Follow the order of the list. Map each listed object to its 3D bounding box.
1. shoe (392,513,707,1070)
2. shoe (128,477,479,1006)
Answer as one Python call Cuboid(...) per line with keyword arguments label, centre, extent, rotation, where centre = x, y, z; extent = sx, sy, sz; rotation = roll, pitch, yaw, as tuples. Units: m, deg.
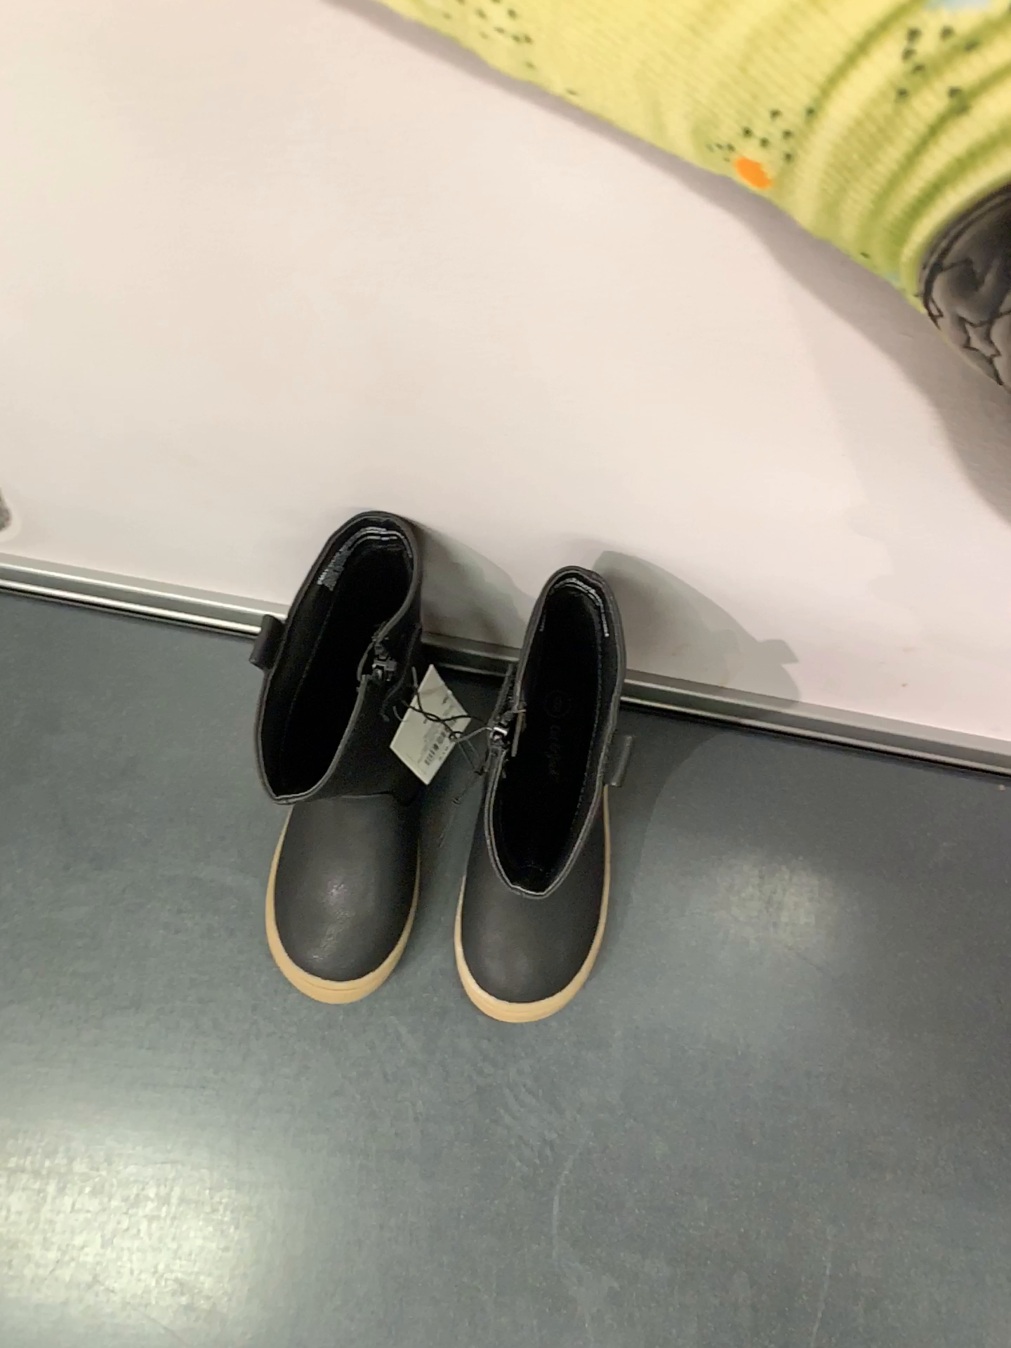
Cuboid(label="shoe", centre=(0.018, 0.062, 0.473), extent=(0.080, 0.200, 0.190), rotation=(11, 75, 2))
Cuboid(label="shoe", centre=(-0.075, 0.045, 0.490), extent=(0.080, 0.200, 0.190), rotation=(13, 75, 3))
